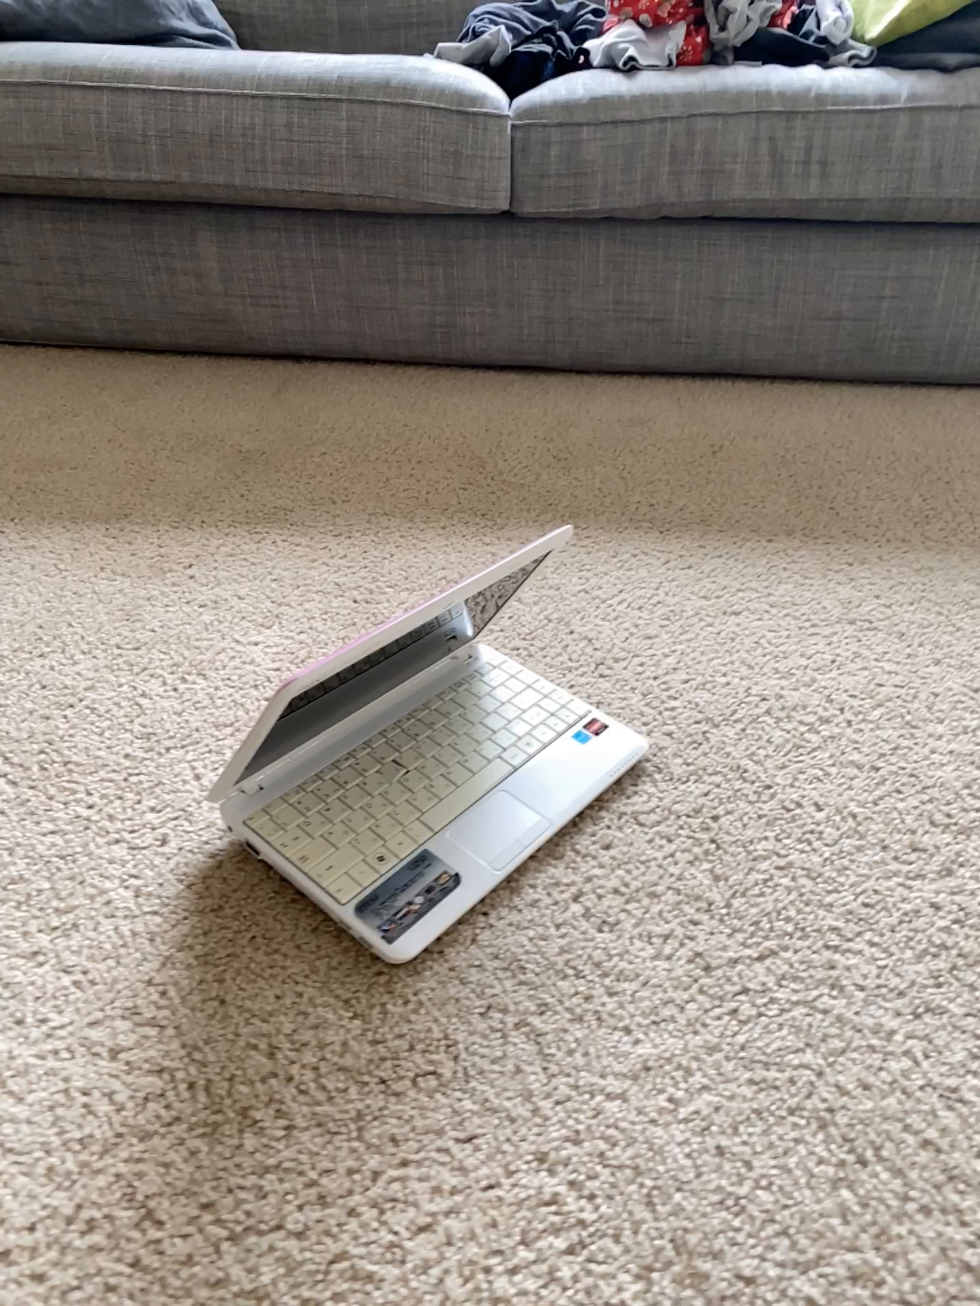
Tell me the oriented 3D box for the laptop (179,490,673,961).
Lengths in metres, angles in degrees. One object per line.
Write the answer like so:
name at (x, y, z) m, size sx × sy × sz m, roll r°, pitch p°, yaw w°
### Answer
laptop at (-0.033, 0.030, 0.715) m, size 0.188 × 0.147 × 0.287 m, roll 29°, pitch 43°, yaw 30°
